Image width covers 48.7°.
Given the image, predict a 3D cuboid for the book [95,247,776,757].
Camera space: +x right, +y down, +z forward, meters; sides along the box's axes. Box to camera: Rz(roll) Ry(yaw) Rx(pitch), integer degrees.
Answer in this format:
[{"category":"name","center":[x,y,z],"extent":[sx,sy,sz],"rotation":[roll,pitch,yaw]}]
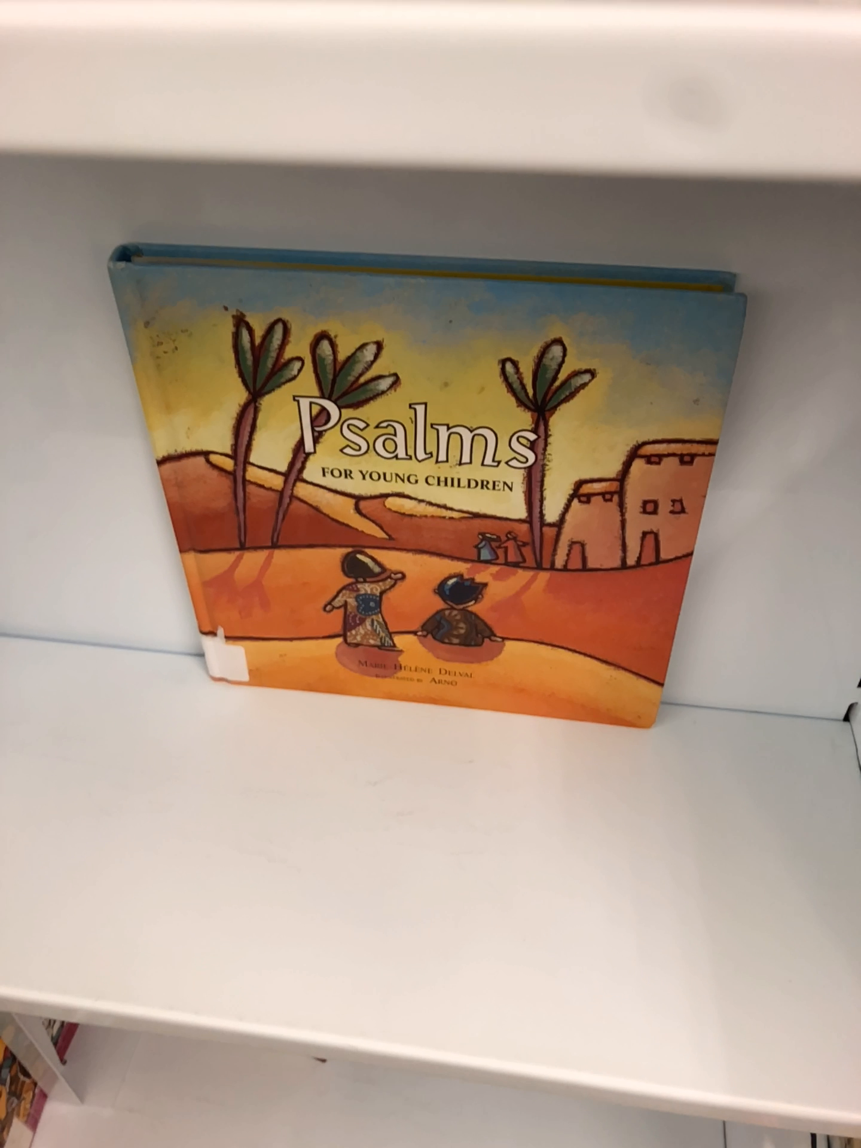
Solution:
[{"category":"book","center":[-0.001,-0.015,0.368],"extent":[0.212,0.205,0.021],"rotation":[6,41,7]}]
